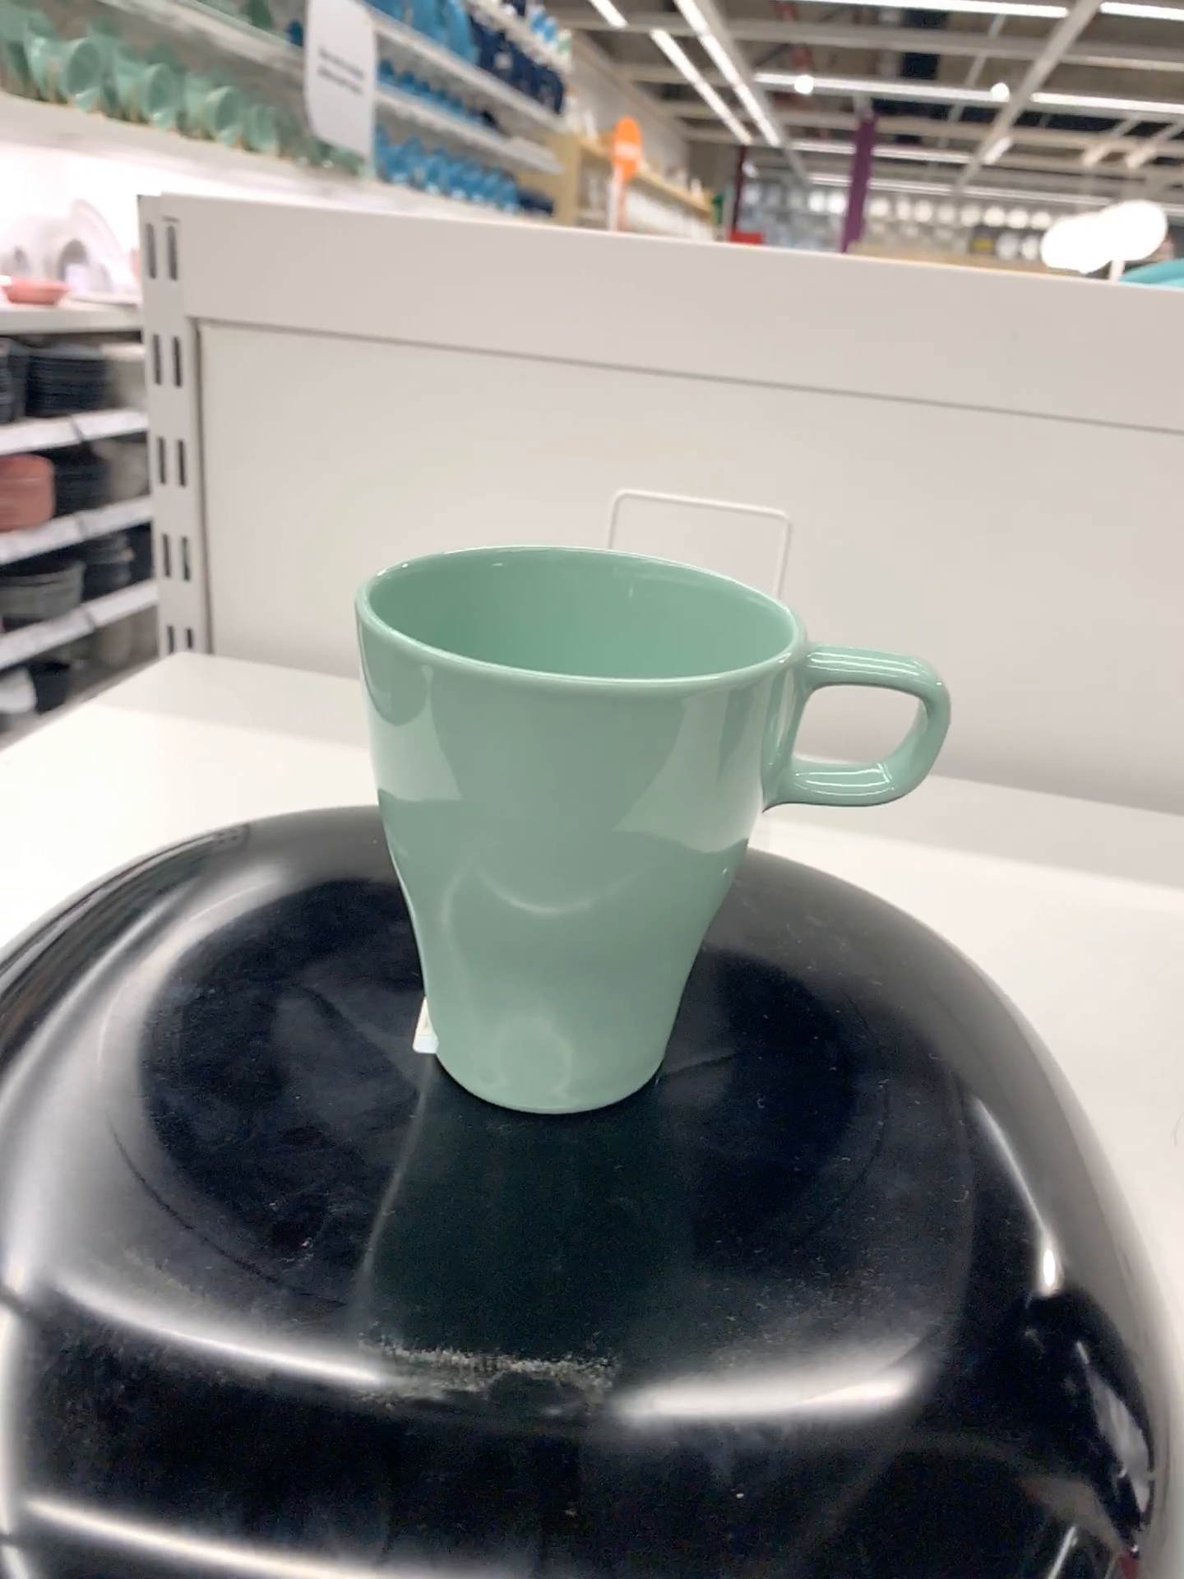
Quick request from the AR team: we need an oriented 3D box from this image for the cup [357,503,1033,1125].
[{"bbox_3d":[0.010,0.002,0.254,0.110,0.100,0.080,2,23,-9],"label":"cup"}]
